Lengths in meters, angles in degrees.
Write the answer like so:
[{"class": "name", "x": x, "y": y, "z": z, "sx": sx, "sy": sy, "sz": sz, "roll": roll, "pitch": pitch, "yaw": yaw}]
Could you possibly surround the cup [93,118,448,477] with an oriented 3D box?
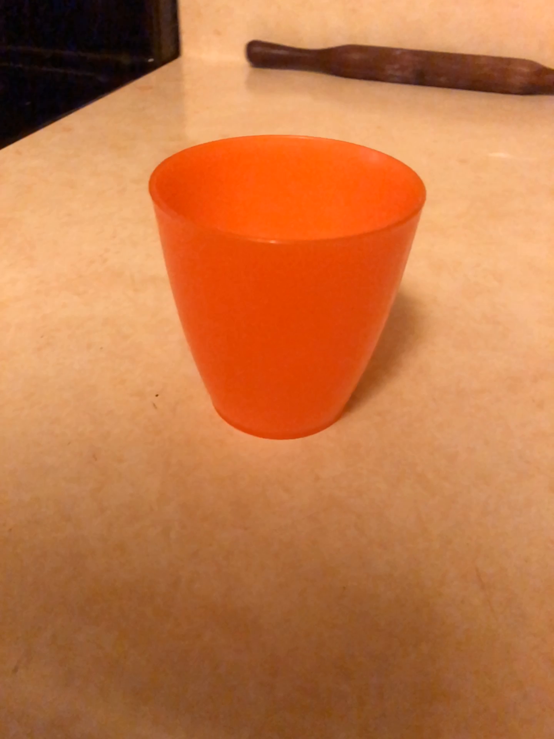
[{"class": "cup", "x": 0.004, "y": -0.028, "z": 0.195, "sx": 0.080, "sy": 0.070, "sz": 0.080, "roll": 1, "pitch": 37, "yaw": -1}]
